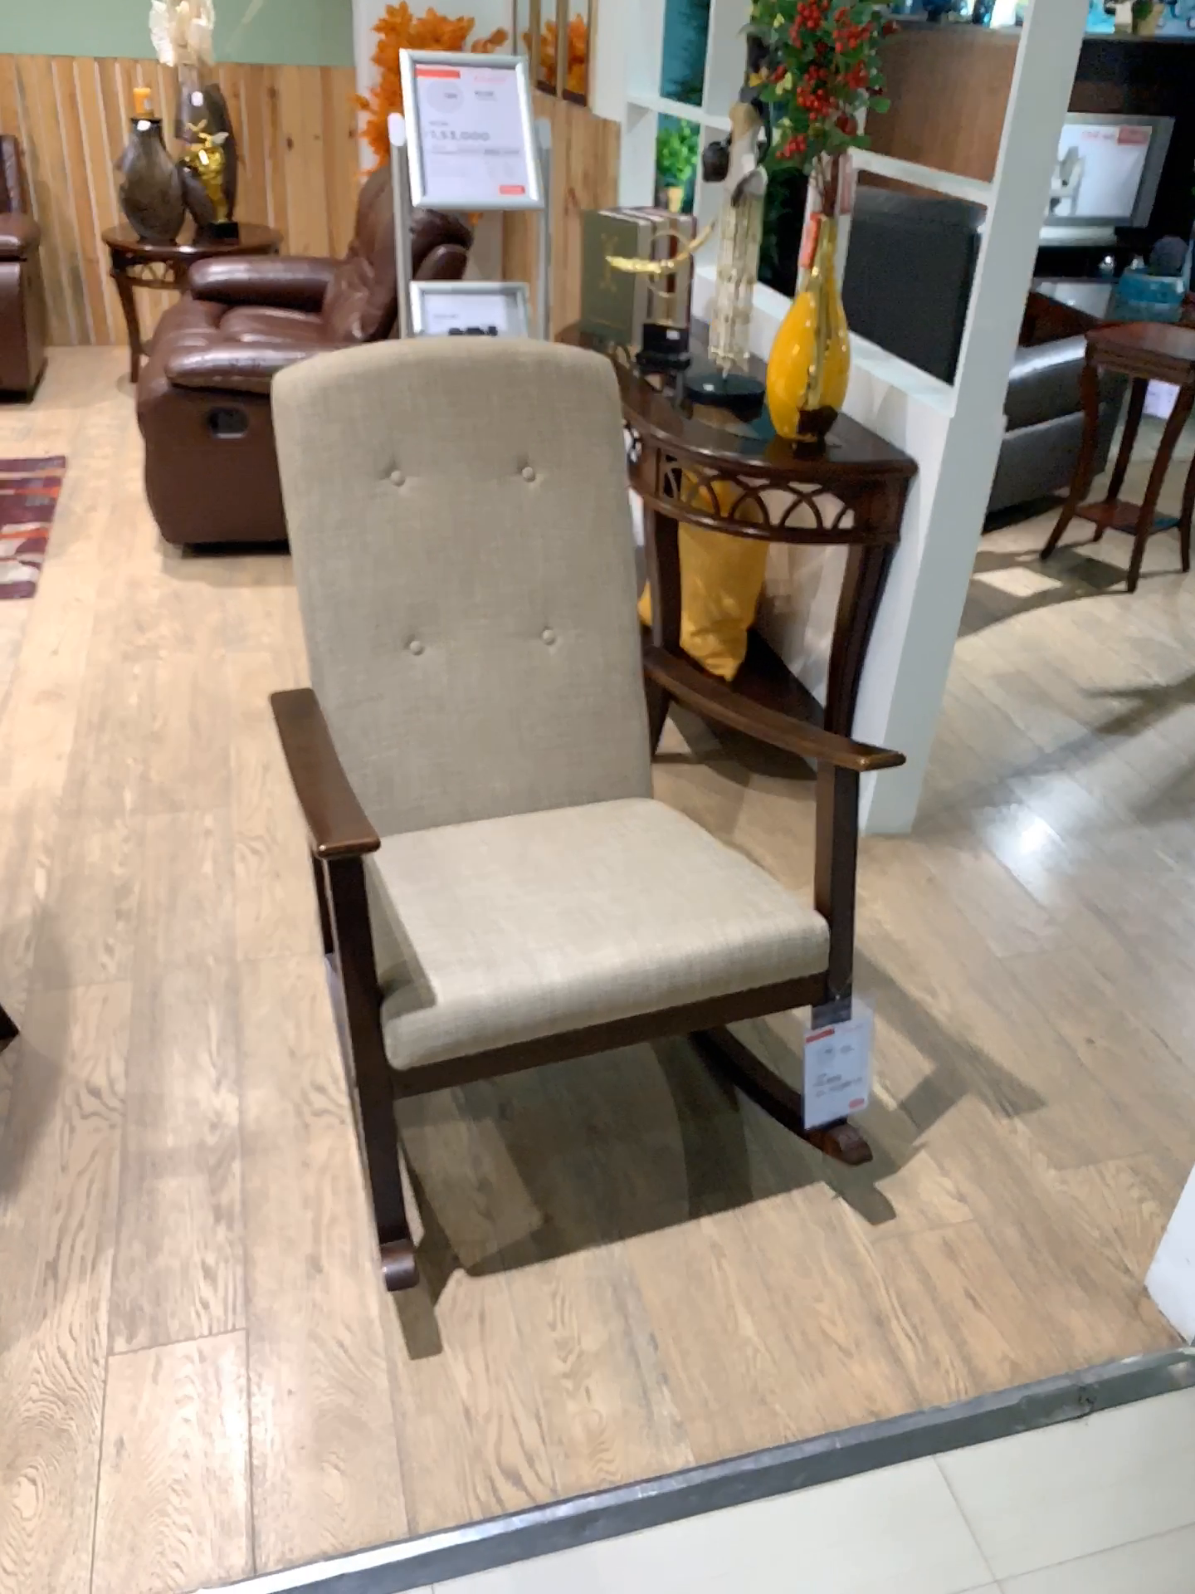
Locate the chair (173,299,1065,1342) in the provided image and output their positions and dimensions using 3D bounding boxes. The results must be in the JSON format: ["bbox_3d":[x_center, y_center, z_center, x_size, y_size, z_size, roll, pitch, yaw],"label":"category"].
[{"bbox_3d":[-0.073,-0.050,1.629,0.730,0.976,0.843,-10,34,-20],"label":"chair"}]
